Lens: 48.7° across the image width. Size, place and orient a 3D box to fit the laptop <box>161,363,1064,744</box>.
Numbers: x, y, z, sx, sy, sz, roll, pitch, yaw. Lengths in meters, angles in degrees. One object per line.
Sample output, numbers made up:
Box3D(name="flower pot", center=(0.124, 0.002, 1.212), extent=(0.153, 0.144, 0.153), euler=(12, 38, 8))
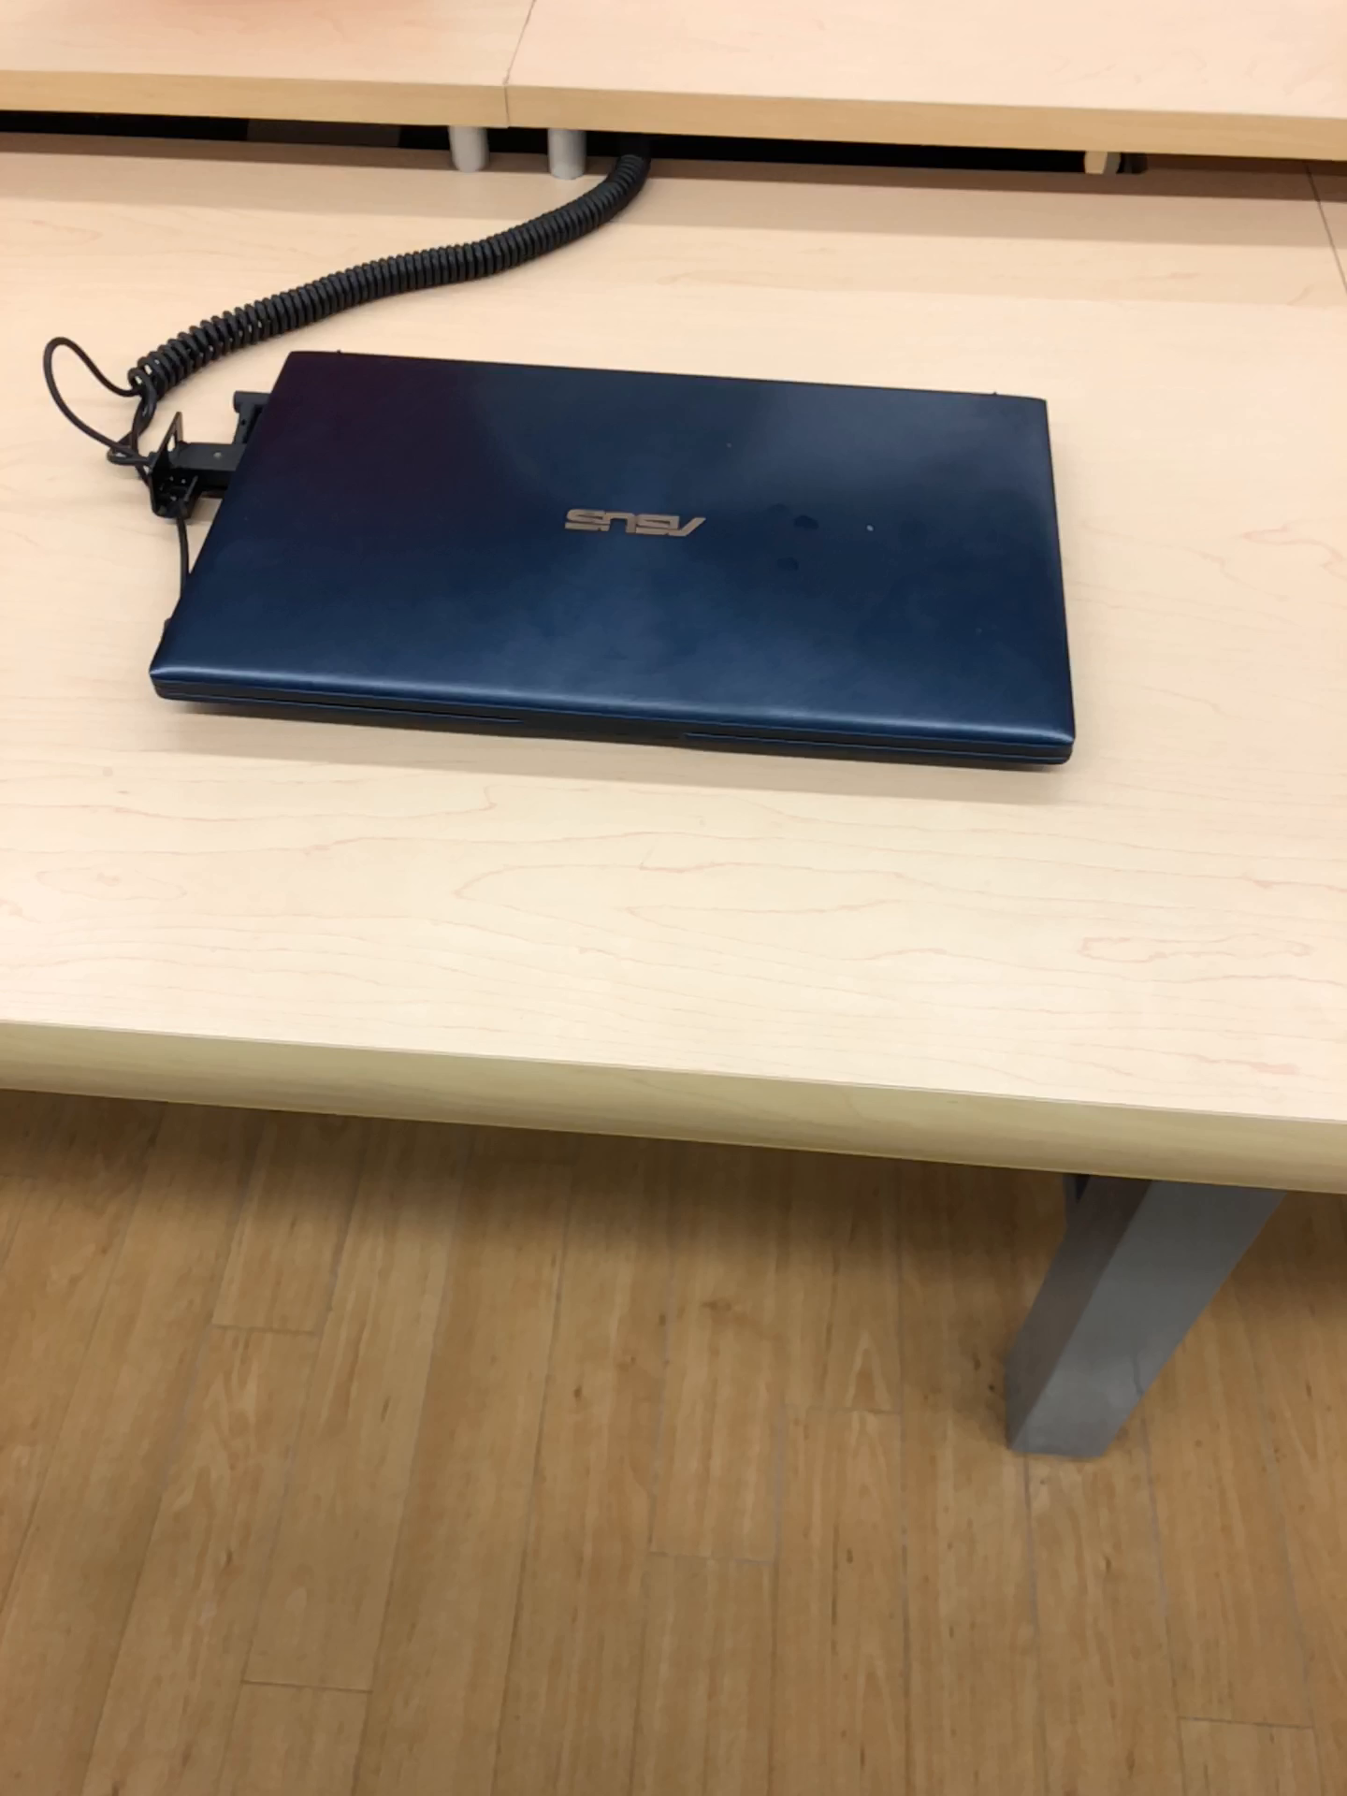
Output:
Box3D(name="laptop", center=(-0.012, -0.132, 0.535), extent=(0.295, 0.001, 0.178), euler=(5, 54, 4))
